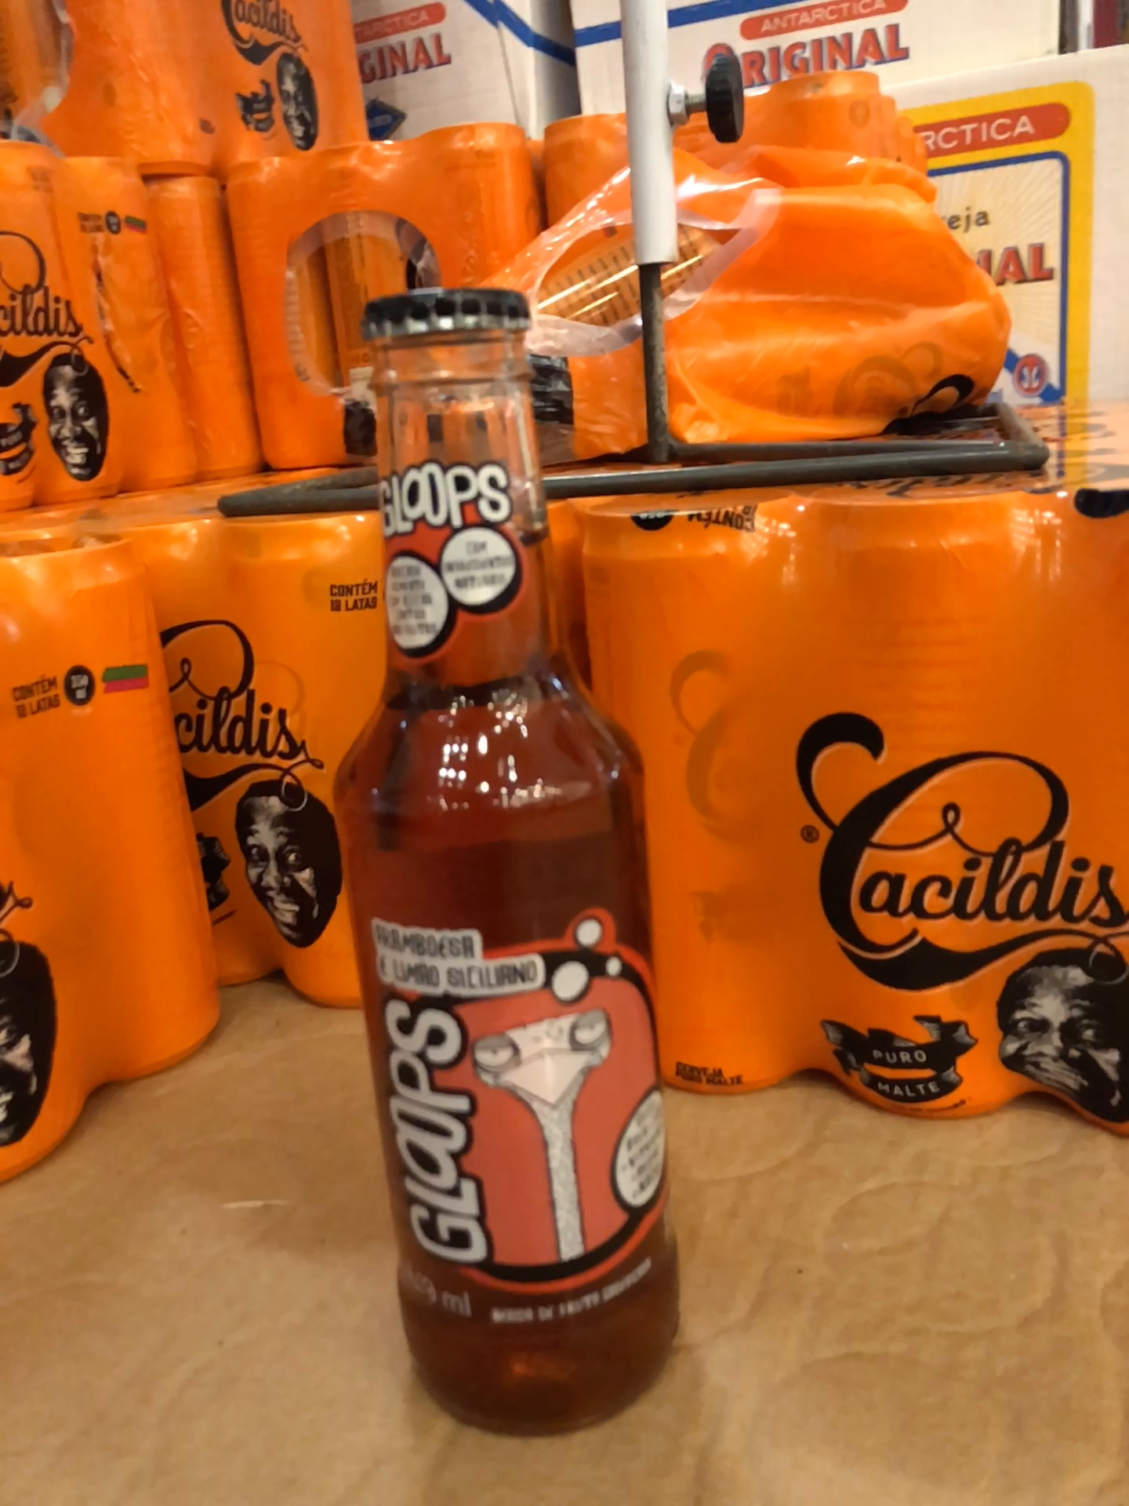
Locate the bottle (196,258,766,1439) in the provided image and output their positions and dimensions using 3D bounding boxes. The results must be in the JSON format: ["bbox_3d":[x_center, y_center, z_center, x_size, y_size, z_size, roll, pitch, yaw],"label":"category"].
[{"bbox_3d":[-0.007,0.020,0.217,0.070,0.189,0.050,-4,15,3],"label":"bottle"}]
